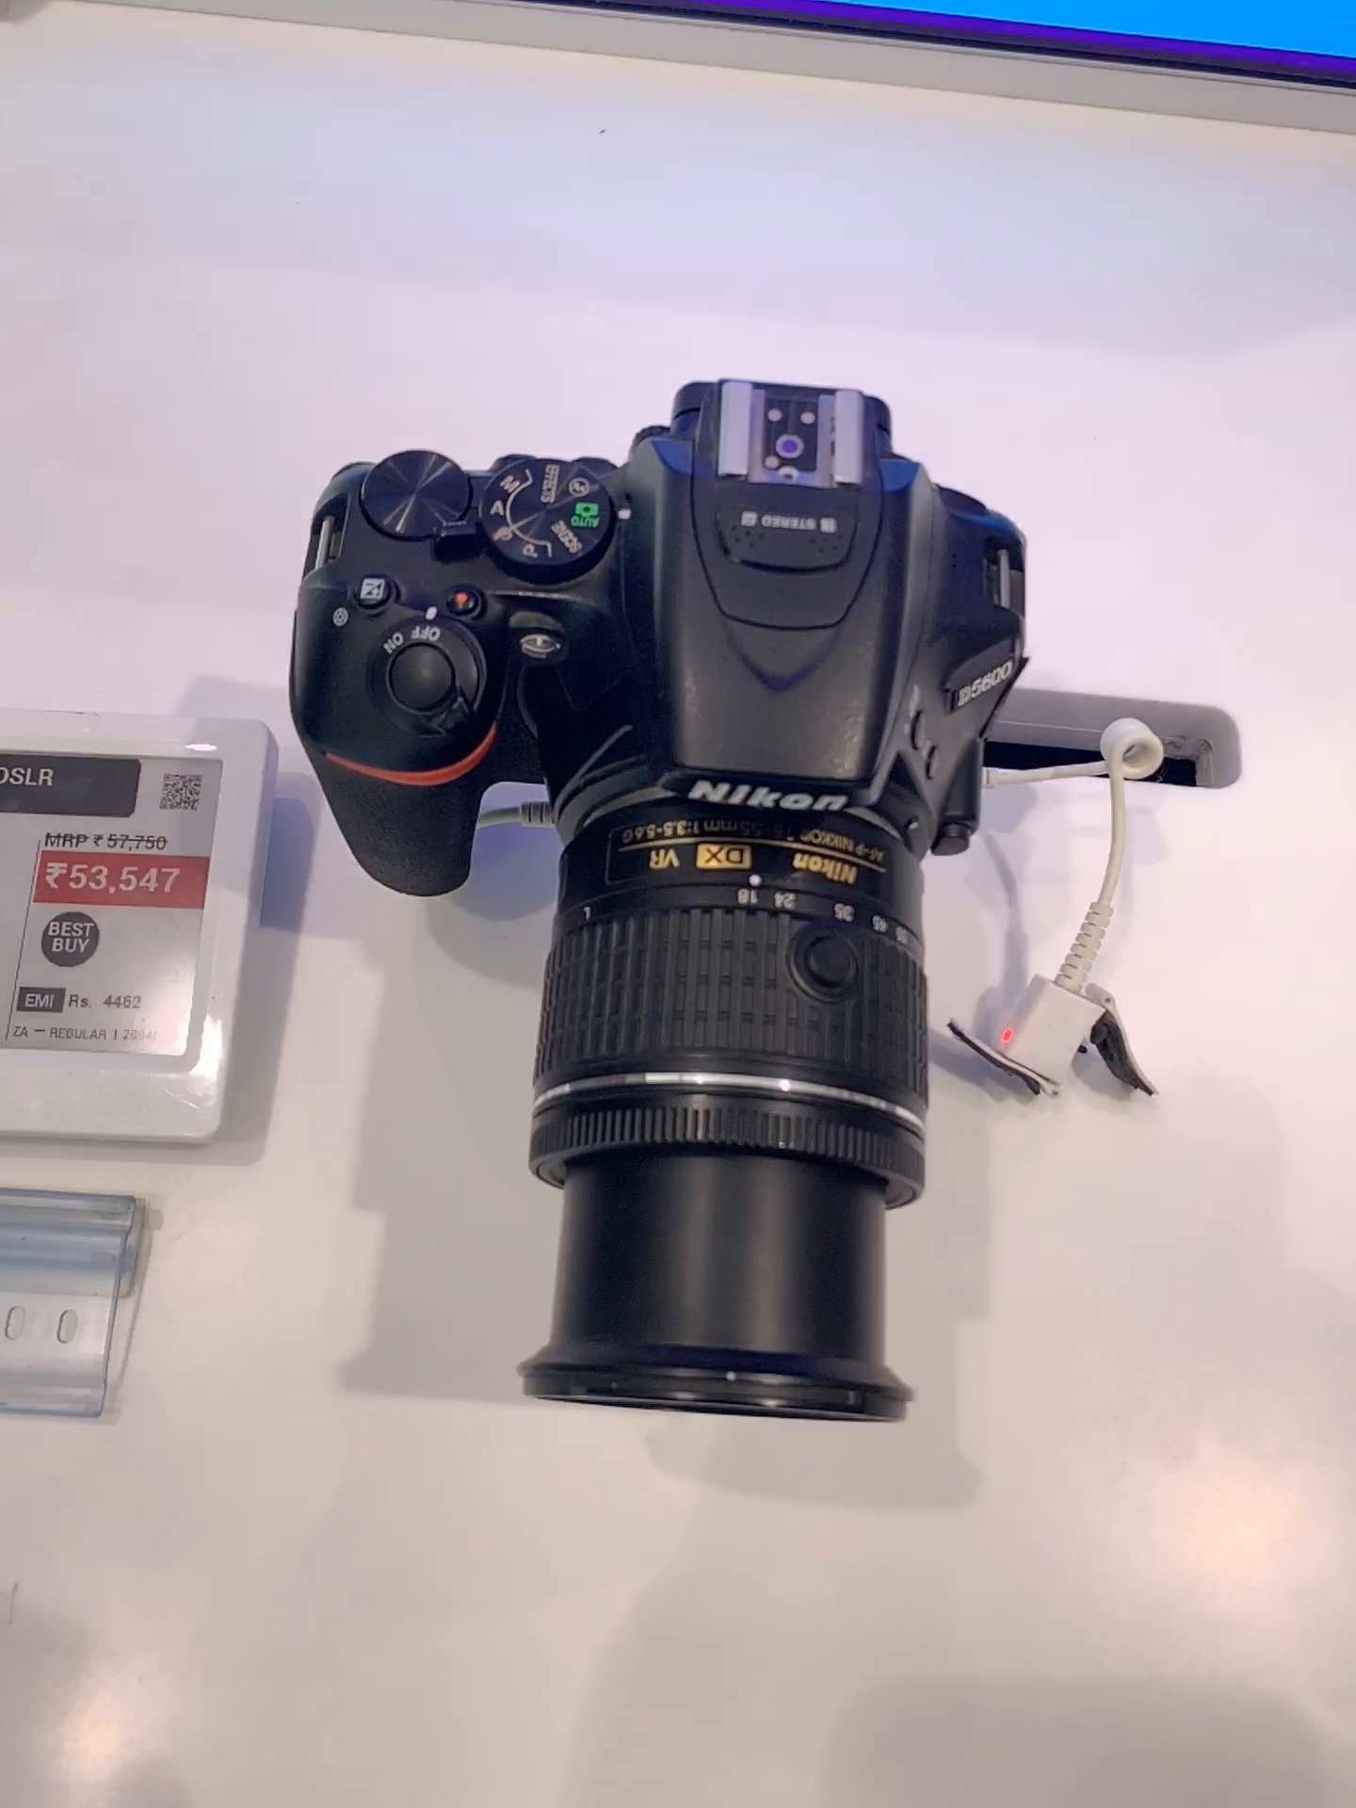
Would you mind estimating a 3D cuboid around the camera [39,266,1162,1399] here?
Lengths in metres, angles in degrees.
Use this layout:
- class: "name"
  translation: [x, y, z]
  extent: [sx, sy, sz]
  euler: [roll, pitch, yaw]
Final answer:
- class: "camera"
  translation: [-0.006, -0.003, 0.217]
  extent: [0.116, 0.100, 0.141]
  euler: [3, 68, -1]
